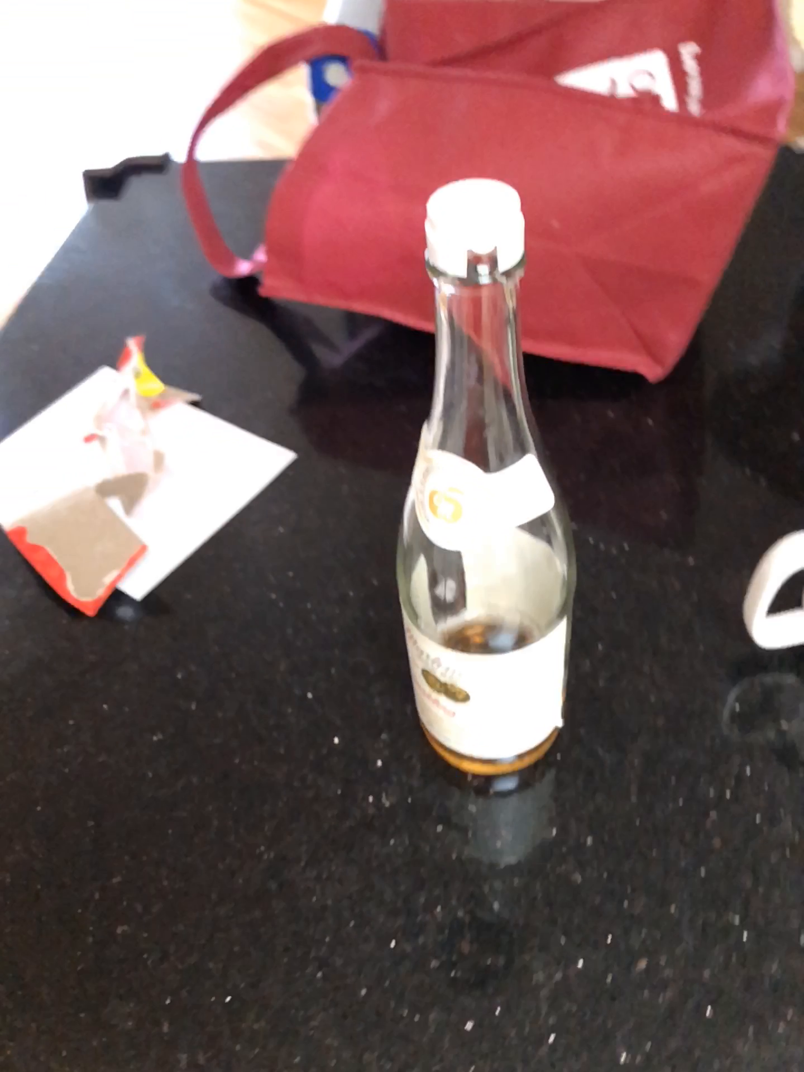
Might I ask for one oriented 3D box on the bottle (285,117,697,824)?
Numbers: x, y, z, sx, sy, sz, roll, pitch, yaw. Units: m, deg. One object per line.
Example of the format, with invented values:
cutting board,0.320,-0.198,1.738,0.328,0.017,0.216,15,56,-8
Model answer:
bottle,0.043,0.001,0.415,0.093,0.330,0.101,-3,49,4
